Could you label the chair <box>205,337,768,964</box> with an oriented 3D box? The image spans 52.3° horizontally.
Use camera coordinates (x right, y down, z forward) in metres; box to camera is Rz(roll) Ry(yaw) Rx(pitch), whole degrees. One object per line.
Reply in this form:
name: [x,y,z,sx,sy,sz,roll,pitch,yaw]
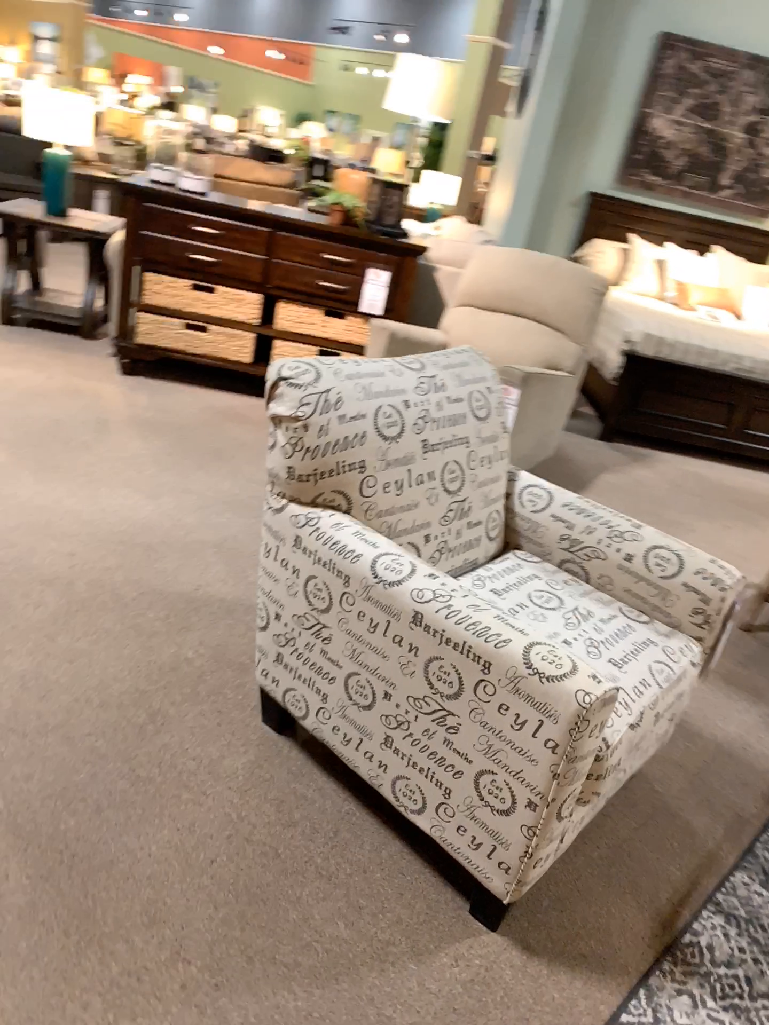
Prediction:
chair: [0.256,0.171,1.818,0.916,0.870,0.837,29,28,31]
